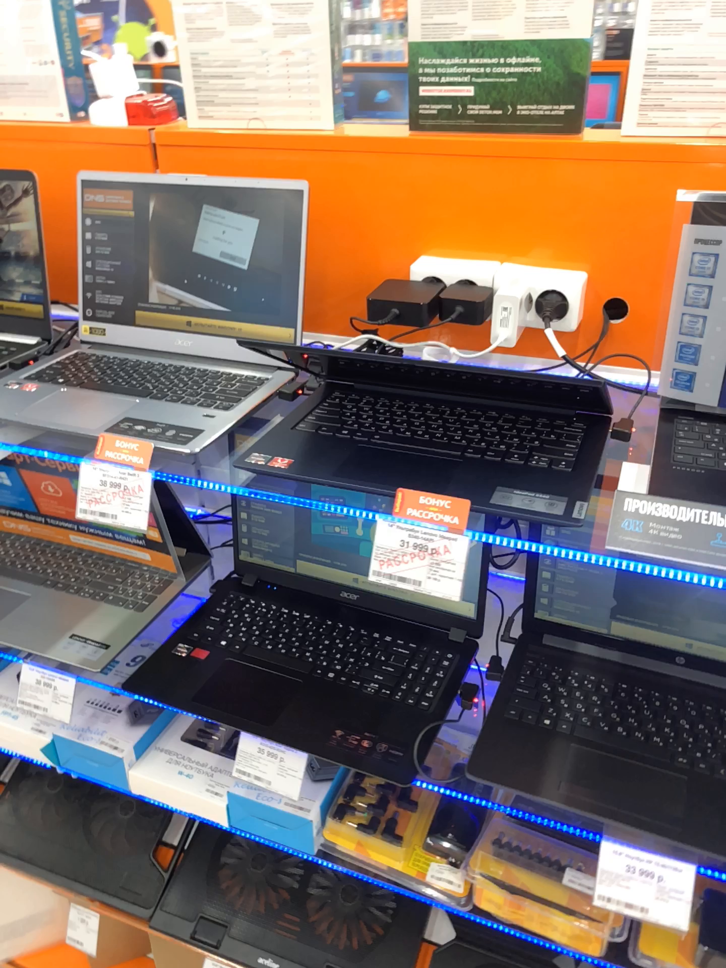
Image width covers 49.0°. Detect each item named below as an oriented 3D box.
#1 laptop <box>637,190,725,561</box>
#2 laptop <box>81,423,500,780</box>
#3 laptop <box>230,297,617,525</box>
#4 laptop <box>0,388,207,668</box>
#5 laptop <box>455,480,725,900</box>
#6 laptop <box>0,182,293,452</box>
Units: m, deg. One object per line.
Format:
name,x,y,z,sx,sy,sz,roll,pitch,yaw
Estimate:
laptop,0.418,-0.108,0.636,0.306,0.213,0.229,10,29,22
laptop,-0.065,0.106,0.880,0.342,0.230,0.247,11,30,24
laptop,0.063,-0.085,0.742,0.299,0.106,0.212,9,30,21
laptop,-0.433,0.040,1.017,0.348,0.207,0.236,11,31,18
laptop,0.299,0.166,0.754,0.353,0.215,0.226,11,30,23
laptop,-0.279,-0.194,0.850,0.315,0.203,0.225,10,30,20
